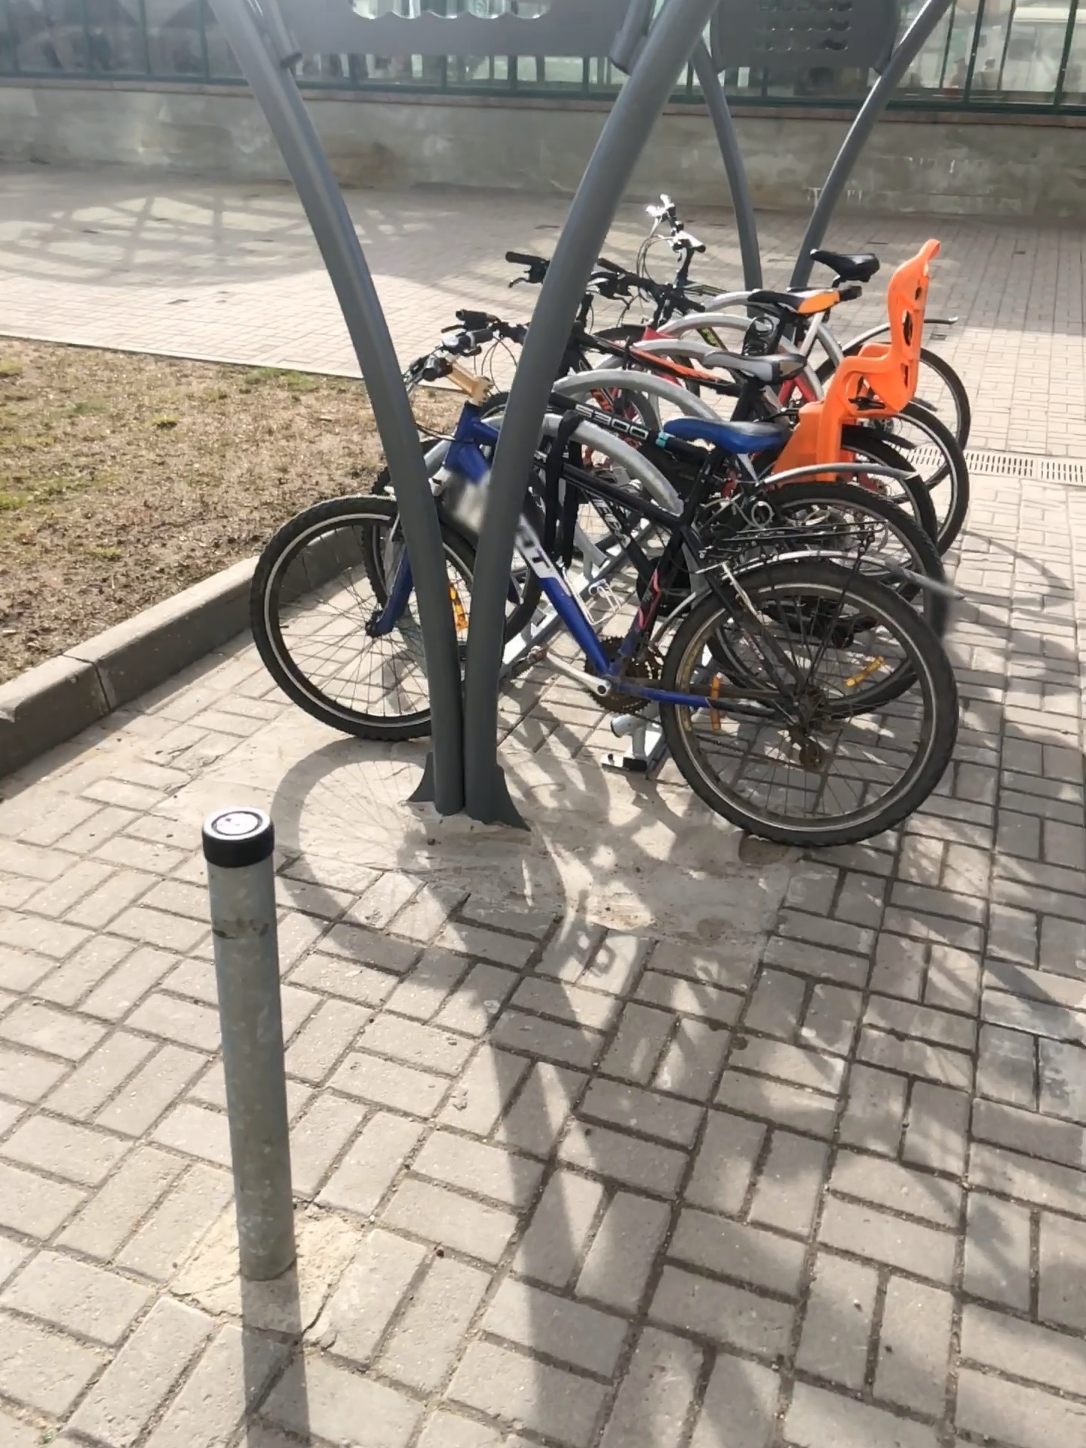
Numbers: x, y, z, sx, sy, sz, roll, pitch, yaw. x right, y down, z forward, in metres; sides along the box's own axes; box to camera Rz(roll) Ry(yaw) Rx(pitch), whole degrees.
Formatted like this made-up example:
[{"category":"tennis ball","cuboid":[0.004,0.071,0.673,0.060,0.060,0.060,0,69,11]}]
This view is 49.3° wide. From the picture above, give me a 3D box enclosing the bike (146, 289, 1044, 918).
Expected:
[{"category":"bike","cuboid":[0.106,-0.334,2.630,1.659,0.959,0.630,12,30,17]}]
